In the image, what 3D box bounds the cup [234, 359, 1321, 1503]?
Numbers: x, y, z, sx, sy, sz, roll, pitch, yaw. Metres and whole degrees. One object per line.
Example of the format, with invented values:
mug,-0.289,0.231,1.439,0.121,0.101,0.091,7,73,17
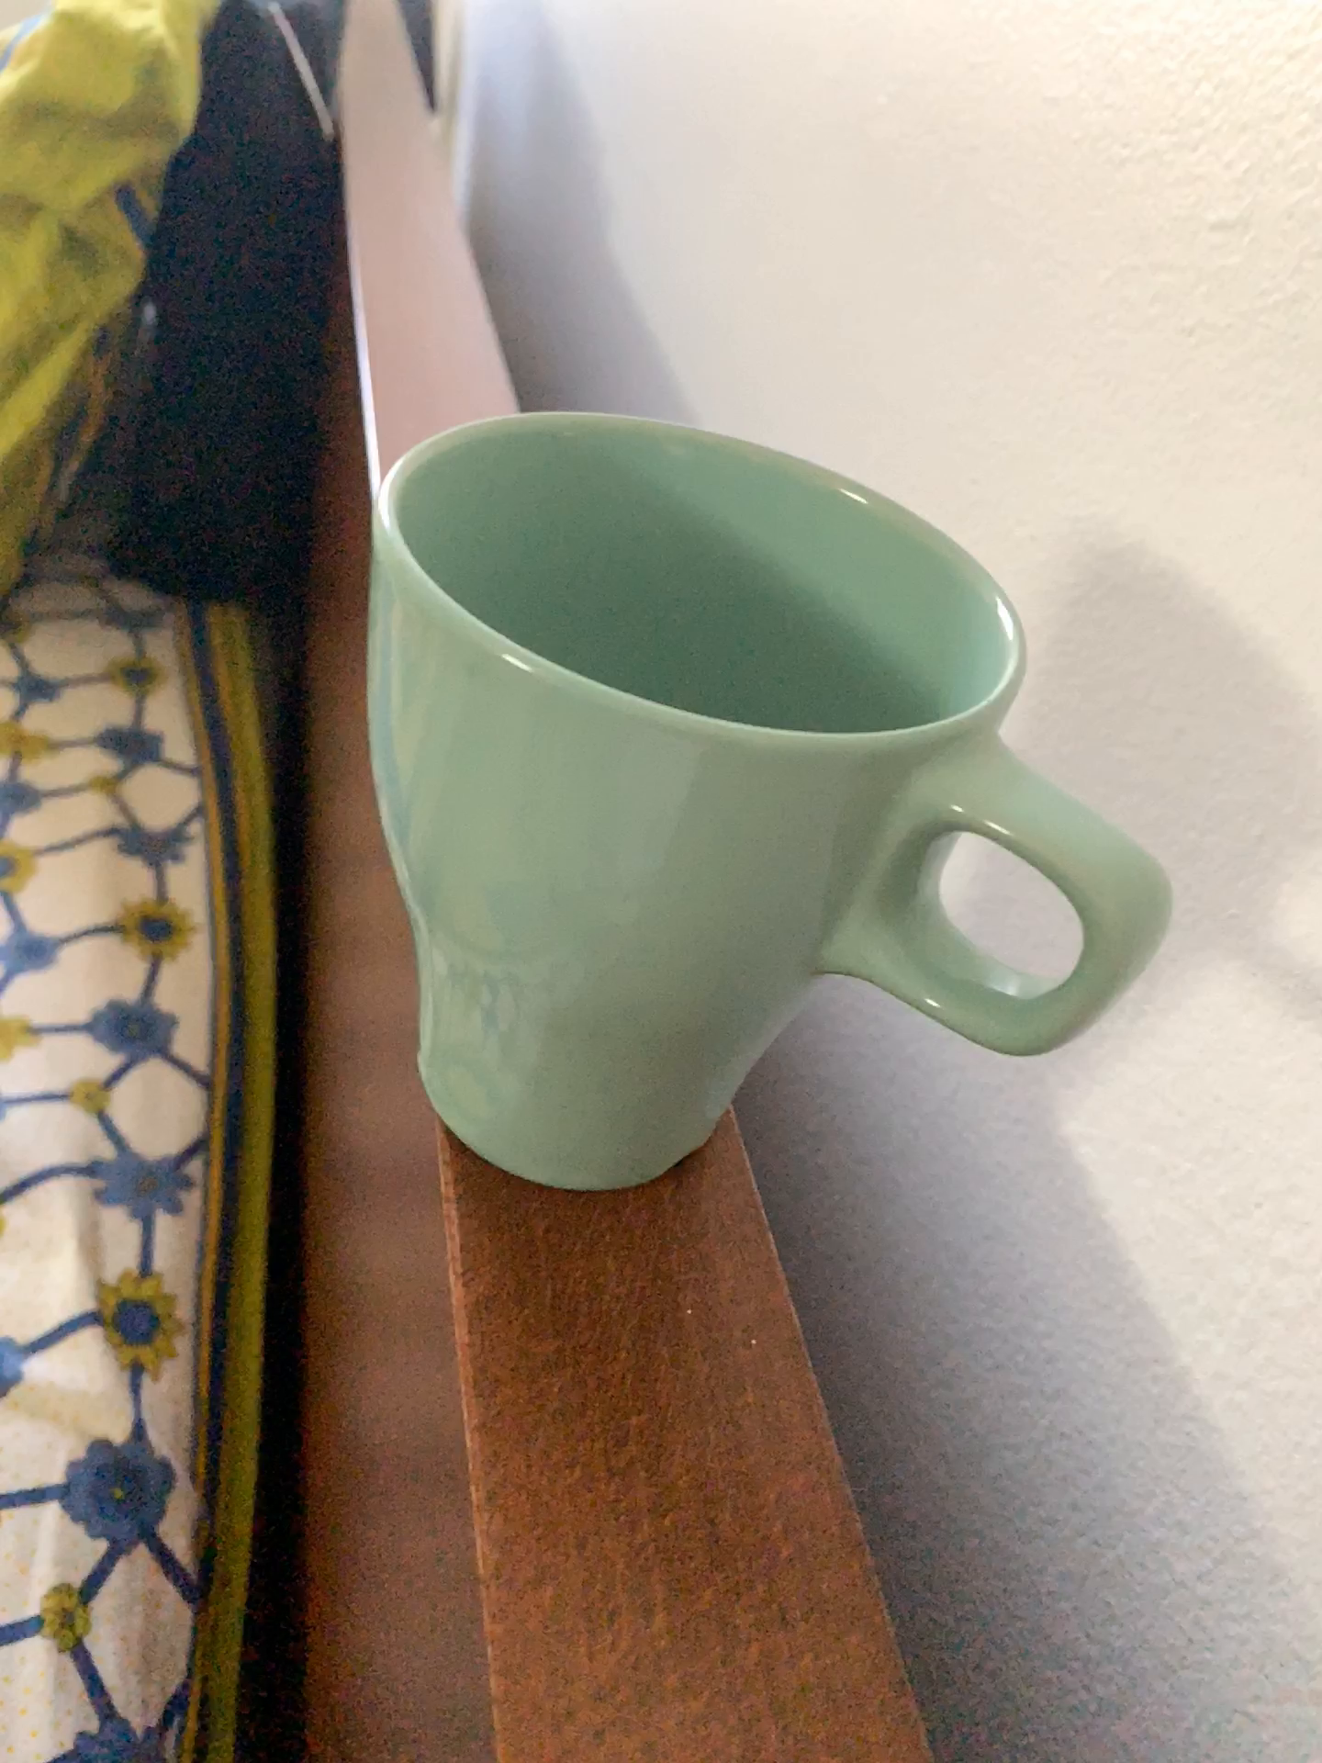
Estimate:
cup,0.009,-0.002,0.204,0.123,0.091,0.082,36,45,23
